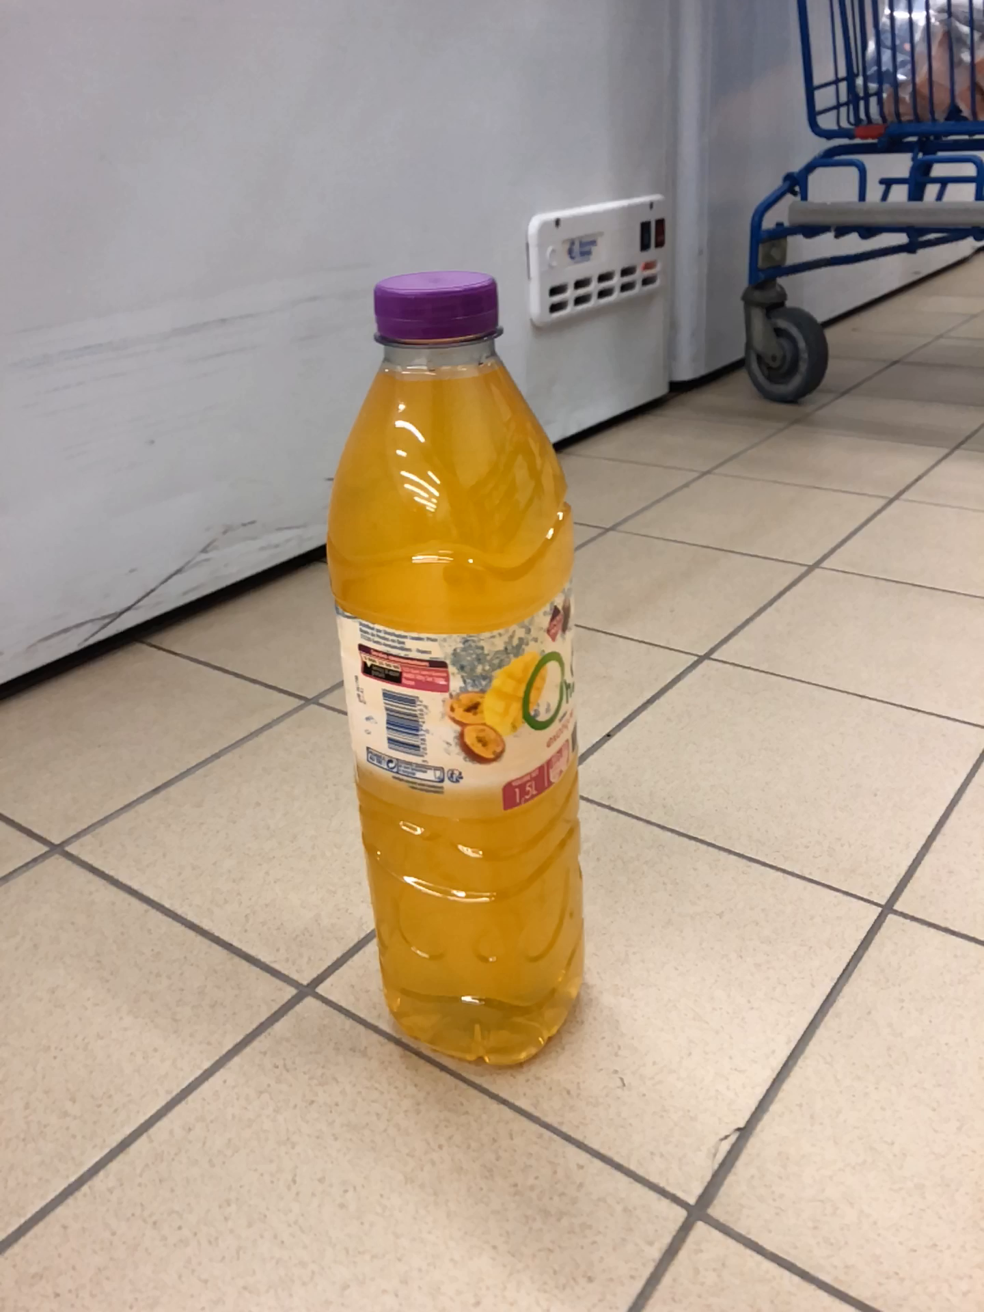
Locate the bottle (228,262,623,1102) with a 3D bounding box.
[{"bbox_3d":[-0.011,0.012,0.419,0.090,0.298,0.101,10,28,26],"label":"bottle"}]
